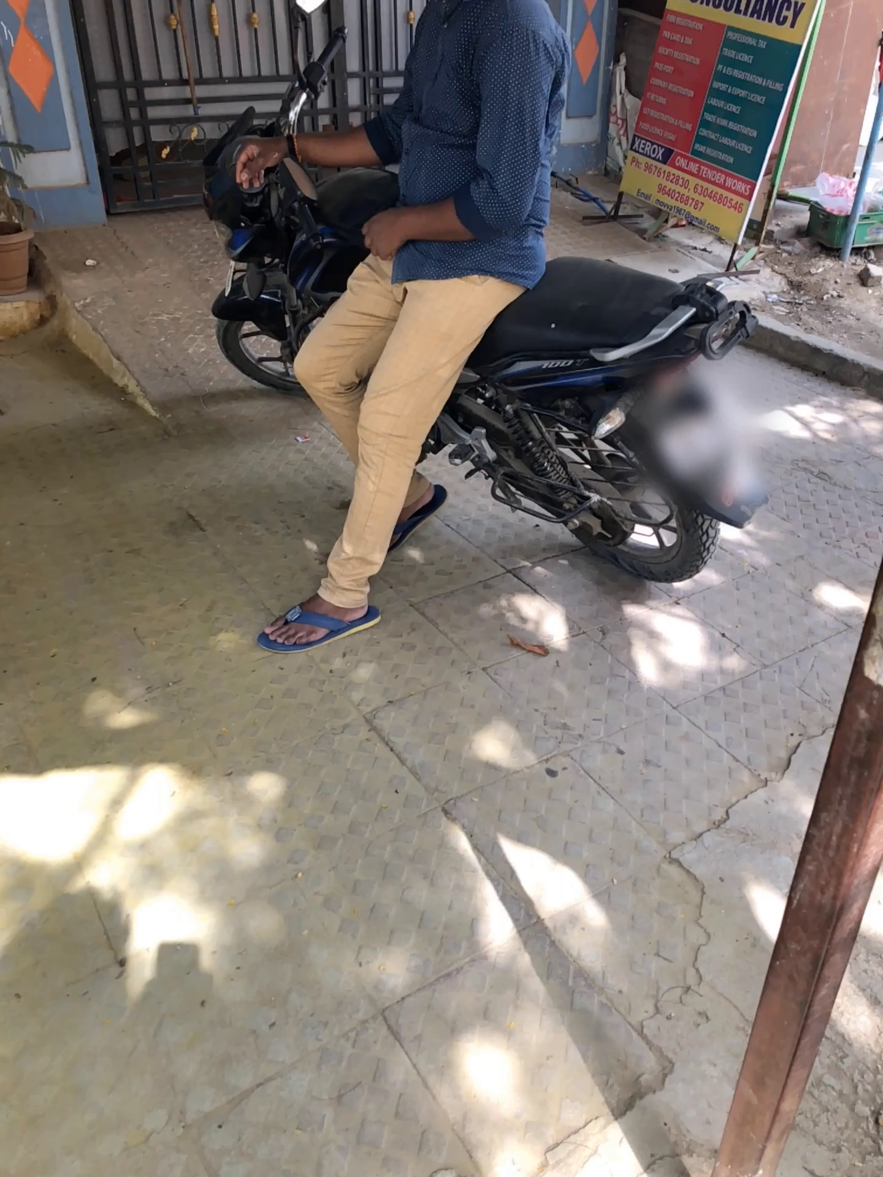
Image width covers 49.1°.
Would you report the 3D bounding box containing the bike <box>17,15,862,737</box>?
[{"bbox_3d":[-0.123,-0.686,2.354,1.745,1.174,0.787,27,41,36],"label":"bike"}]
